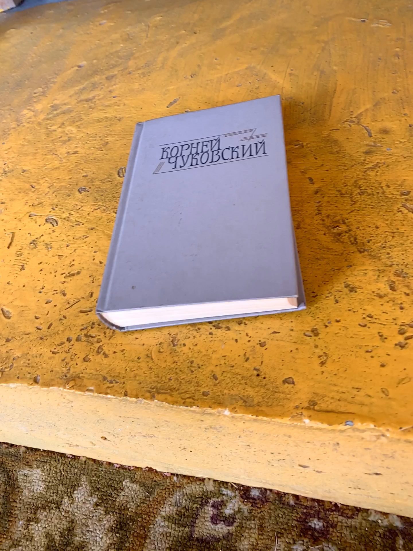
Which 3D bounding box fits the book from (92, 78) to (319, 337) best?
[{"bbox_3d":[0.003,-0.063,0.327,0.139,0.031,0.217,-7,54,14],"label":"book"}]
